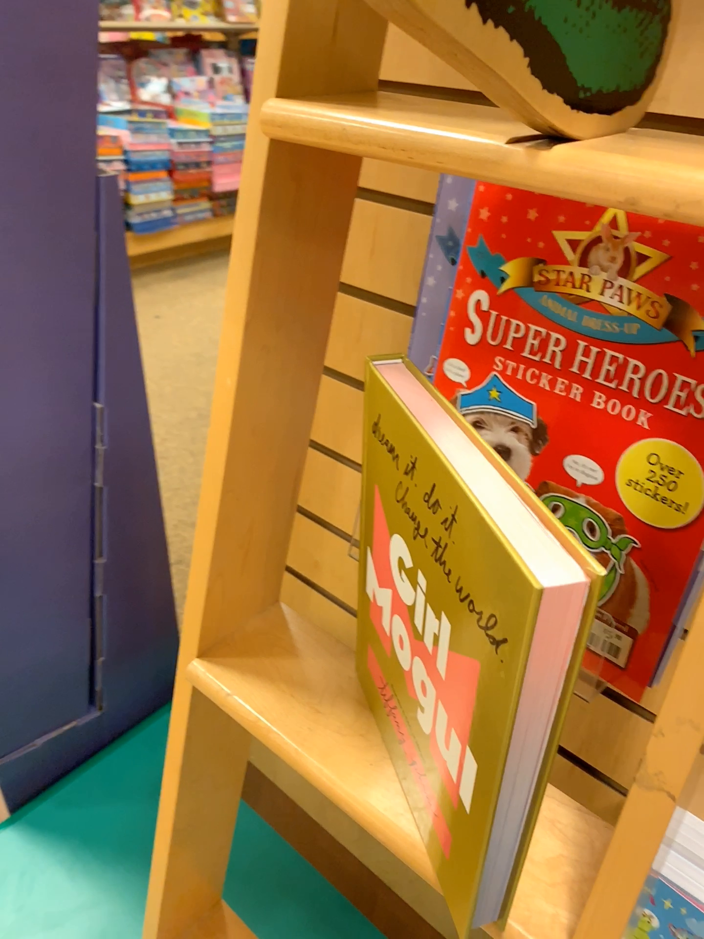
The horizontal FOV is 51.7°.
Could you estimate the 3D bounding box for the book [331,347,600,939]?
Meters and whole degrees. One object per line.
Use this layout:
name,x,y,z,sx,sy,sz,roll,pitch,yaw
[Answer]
book,0.031,0.079,0.352,0.030,0.219,0.181,-8,34,-16
